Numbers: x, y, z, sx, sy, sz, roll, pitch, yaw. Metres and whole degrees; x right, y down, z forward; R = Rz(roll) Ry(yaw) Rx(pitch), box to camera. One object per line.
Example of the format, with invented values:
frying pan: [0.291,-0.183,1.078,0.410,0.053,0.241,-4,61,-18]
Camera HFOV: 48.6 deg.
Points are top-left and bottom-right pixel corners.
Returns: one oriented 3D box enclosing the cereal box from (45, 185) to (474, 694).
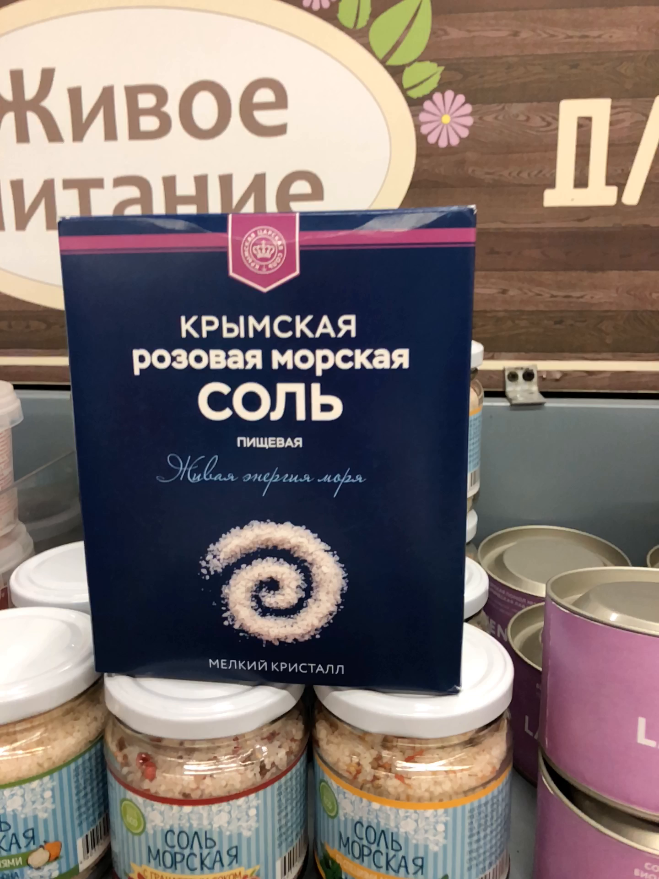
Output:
cereal box: [-0.018,0.000,0.236,0.120,0.149,0.040,1,12,7]
